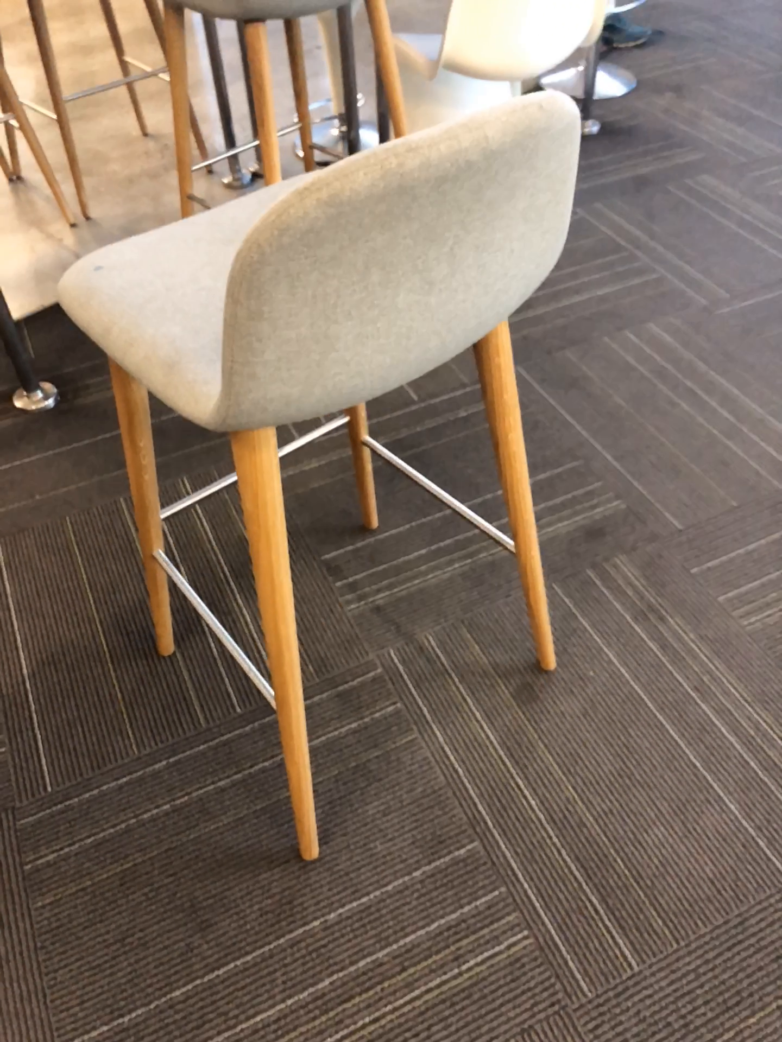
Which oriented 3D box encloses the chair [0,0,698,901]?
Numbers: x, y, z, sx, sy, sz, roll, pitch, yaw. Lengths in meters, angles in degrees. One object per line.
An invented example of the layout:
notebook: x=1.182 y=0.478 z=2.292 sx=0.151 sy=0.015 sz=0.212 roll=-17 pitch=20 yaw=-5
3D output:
chair: x=-0.115 y=-0.122 z=1.107 sx=0.571 sy=0.946 sz=0.562 roll=-32 pitch=50 yaw=-27
